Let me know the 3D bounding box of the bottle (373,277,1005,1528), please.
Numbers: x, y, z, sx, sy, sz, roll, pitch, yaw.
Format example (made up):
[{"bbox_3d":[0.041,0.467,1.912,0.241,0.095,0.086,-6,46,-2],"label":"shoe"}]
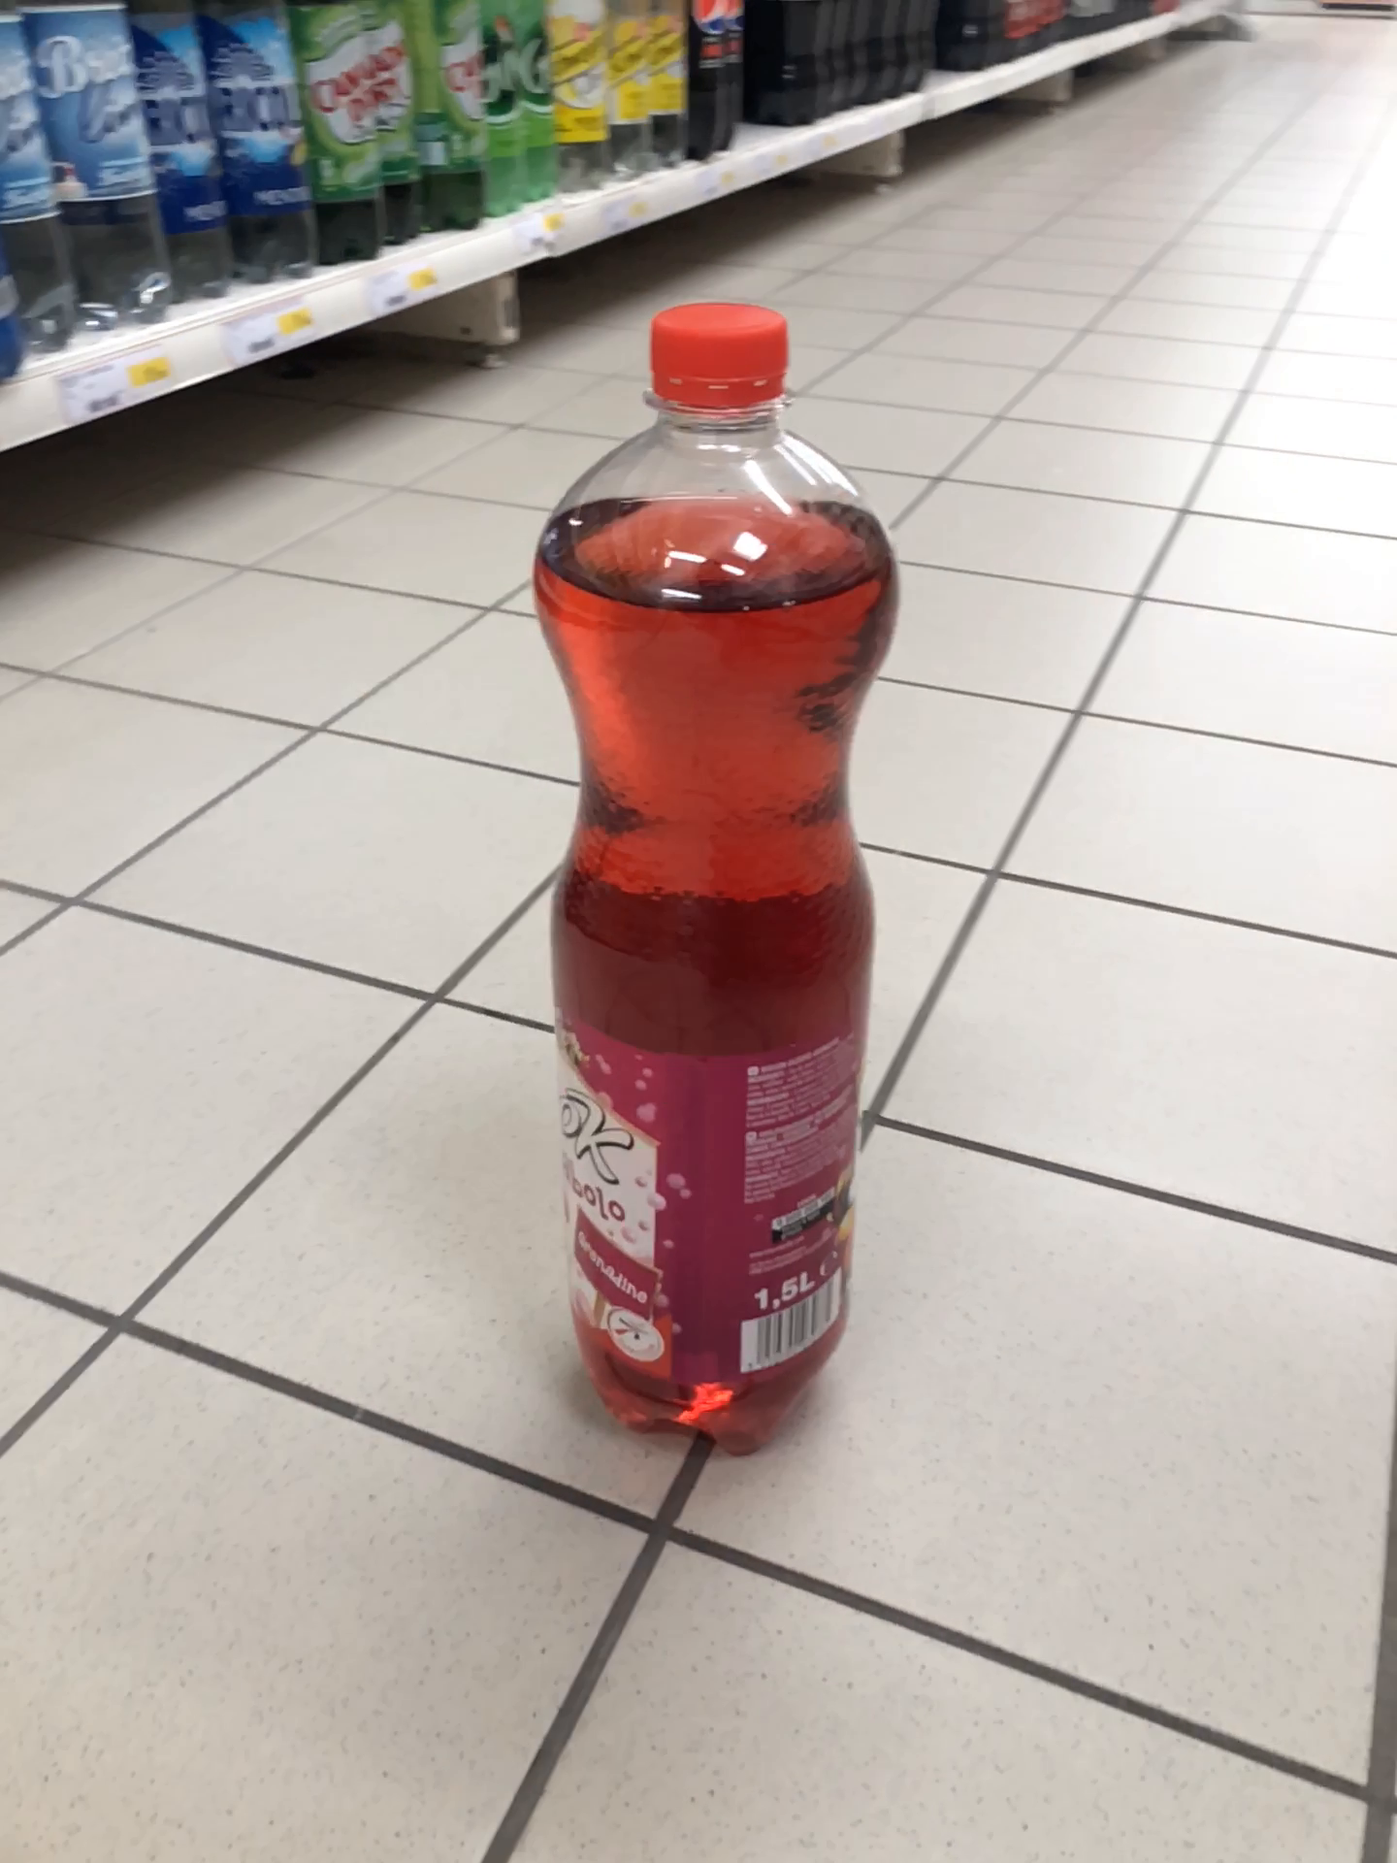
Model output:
[{"bbox_3d":[-0.006,0.002,0.411,0.100,0.308,0.100,0,32,0],"label":"bottle"}]
